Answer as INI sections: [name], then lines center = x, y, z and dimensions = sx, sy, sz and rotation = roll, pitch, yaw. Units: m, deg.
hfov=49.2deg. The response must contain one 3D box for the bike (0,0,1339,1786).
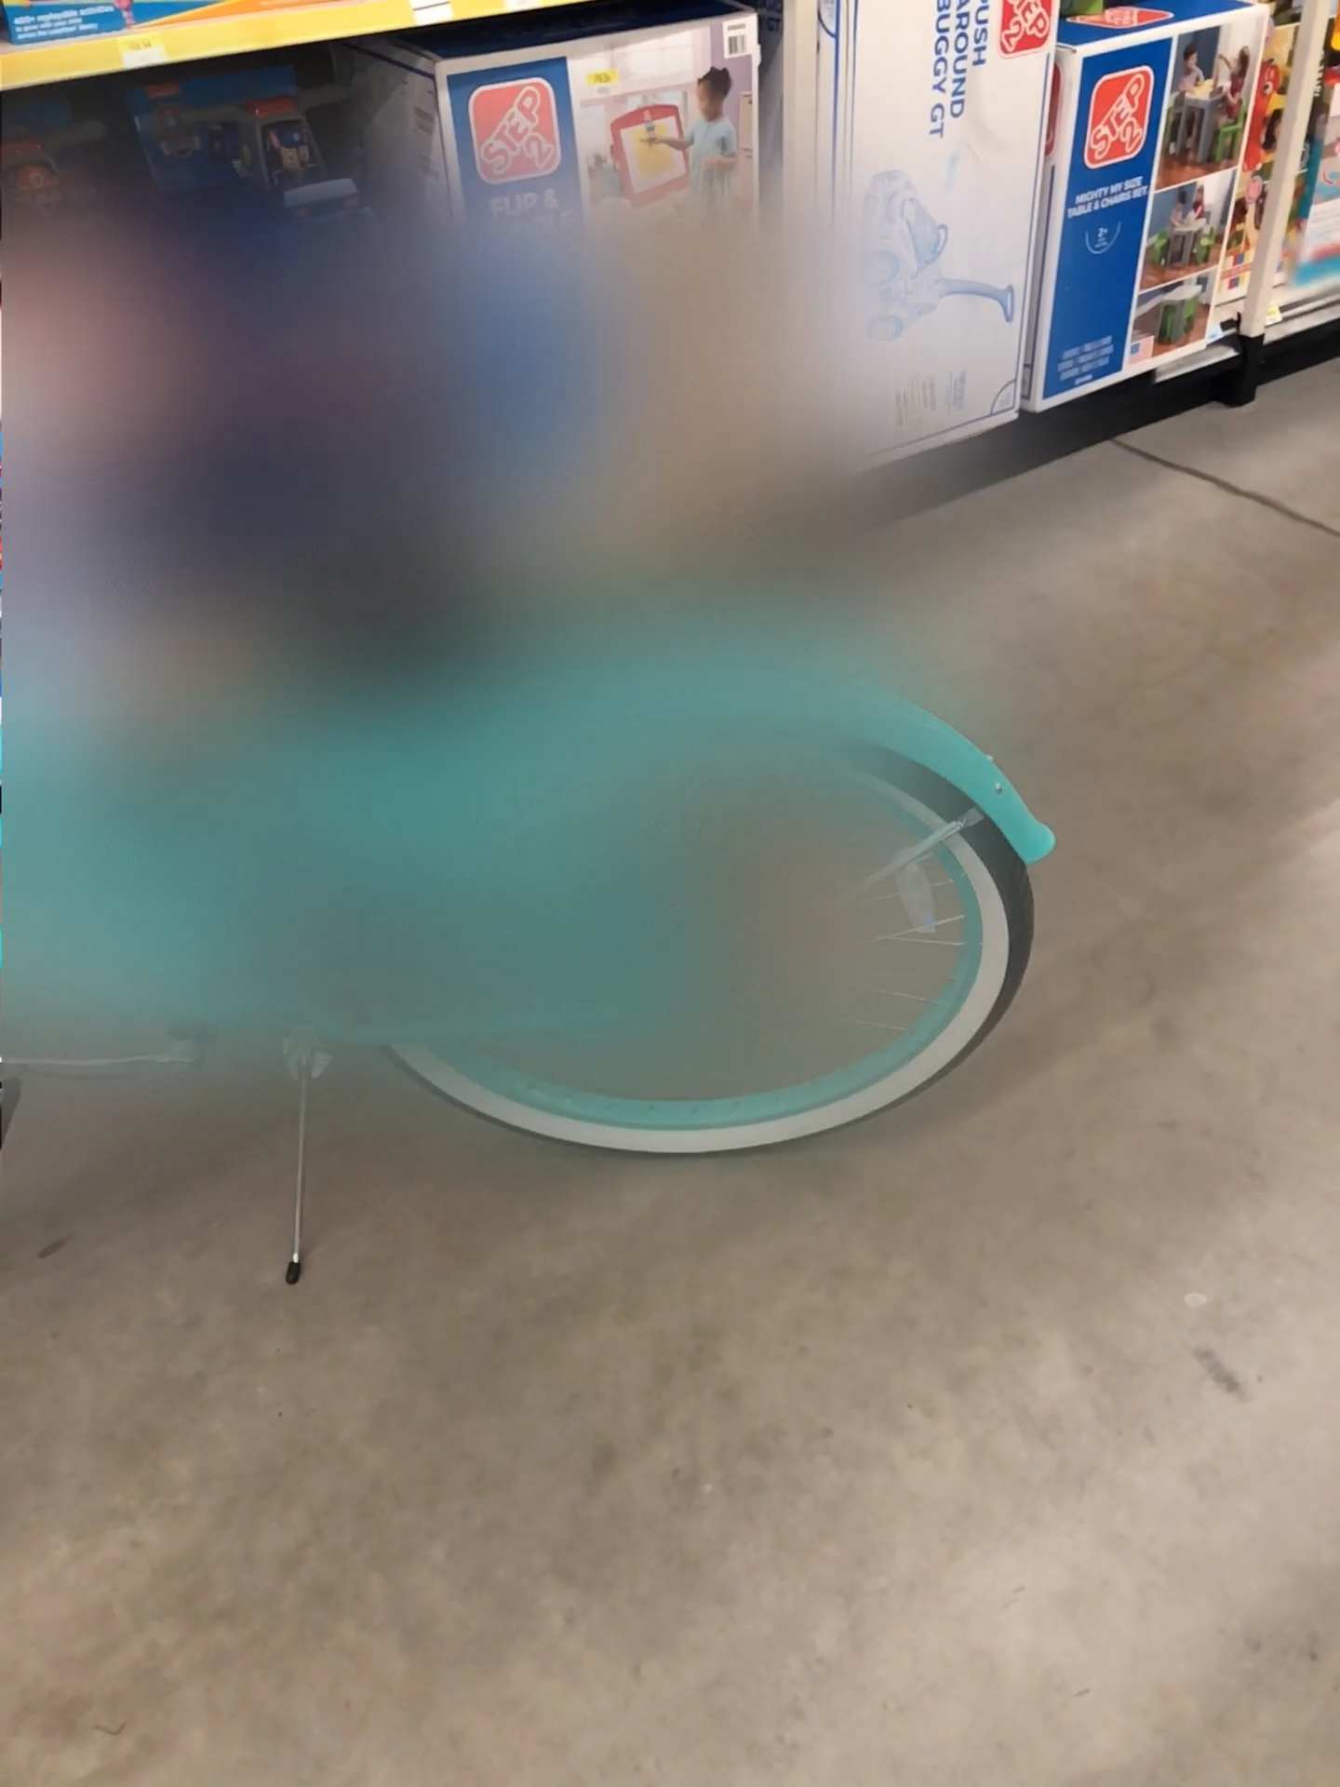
[bike]
center = -0.499, 0.019, 1.088
dimensions = 1.491, 1.144, 0.762
rotation = -11, 40, -3
